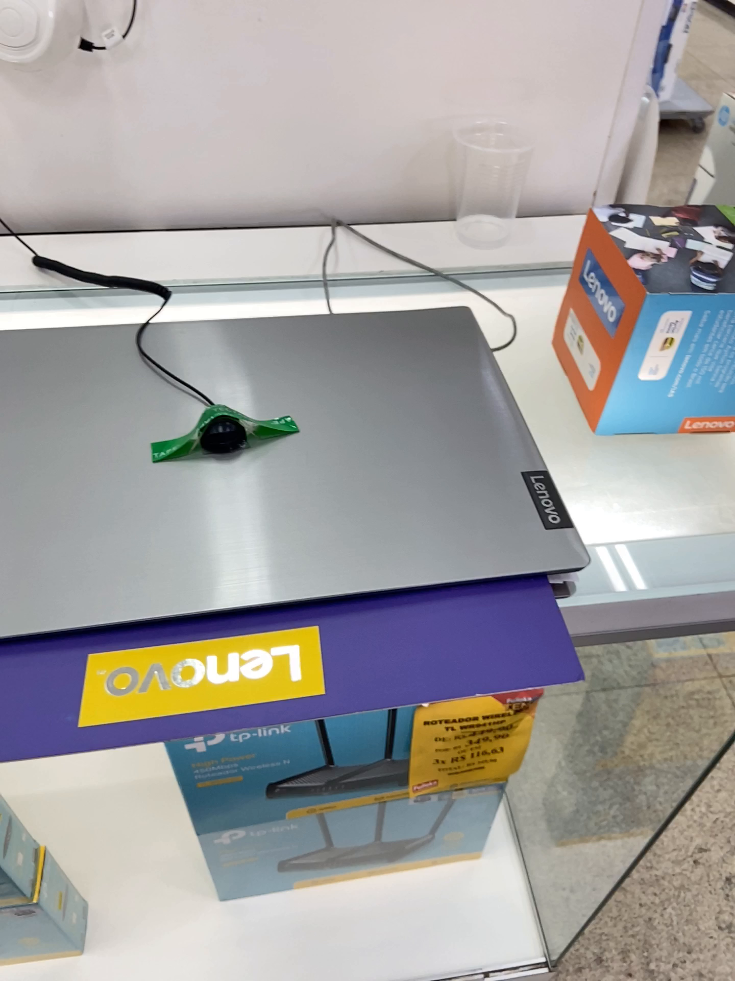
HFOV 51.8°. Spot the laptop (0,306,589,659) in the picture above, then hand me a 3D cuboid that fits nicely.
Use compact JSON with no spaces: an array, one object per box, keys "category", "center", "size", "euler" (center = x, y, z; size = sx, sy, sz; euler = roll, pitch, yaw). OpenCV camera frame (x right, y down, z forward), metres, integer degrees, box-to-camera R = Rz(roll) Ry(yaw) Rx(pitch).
[{"category":"laptop","center":[-0.089,-0.029,0.431],"size":[0.362,0.001,0.241],"euler":[-5,46,-7]}]
